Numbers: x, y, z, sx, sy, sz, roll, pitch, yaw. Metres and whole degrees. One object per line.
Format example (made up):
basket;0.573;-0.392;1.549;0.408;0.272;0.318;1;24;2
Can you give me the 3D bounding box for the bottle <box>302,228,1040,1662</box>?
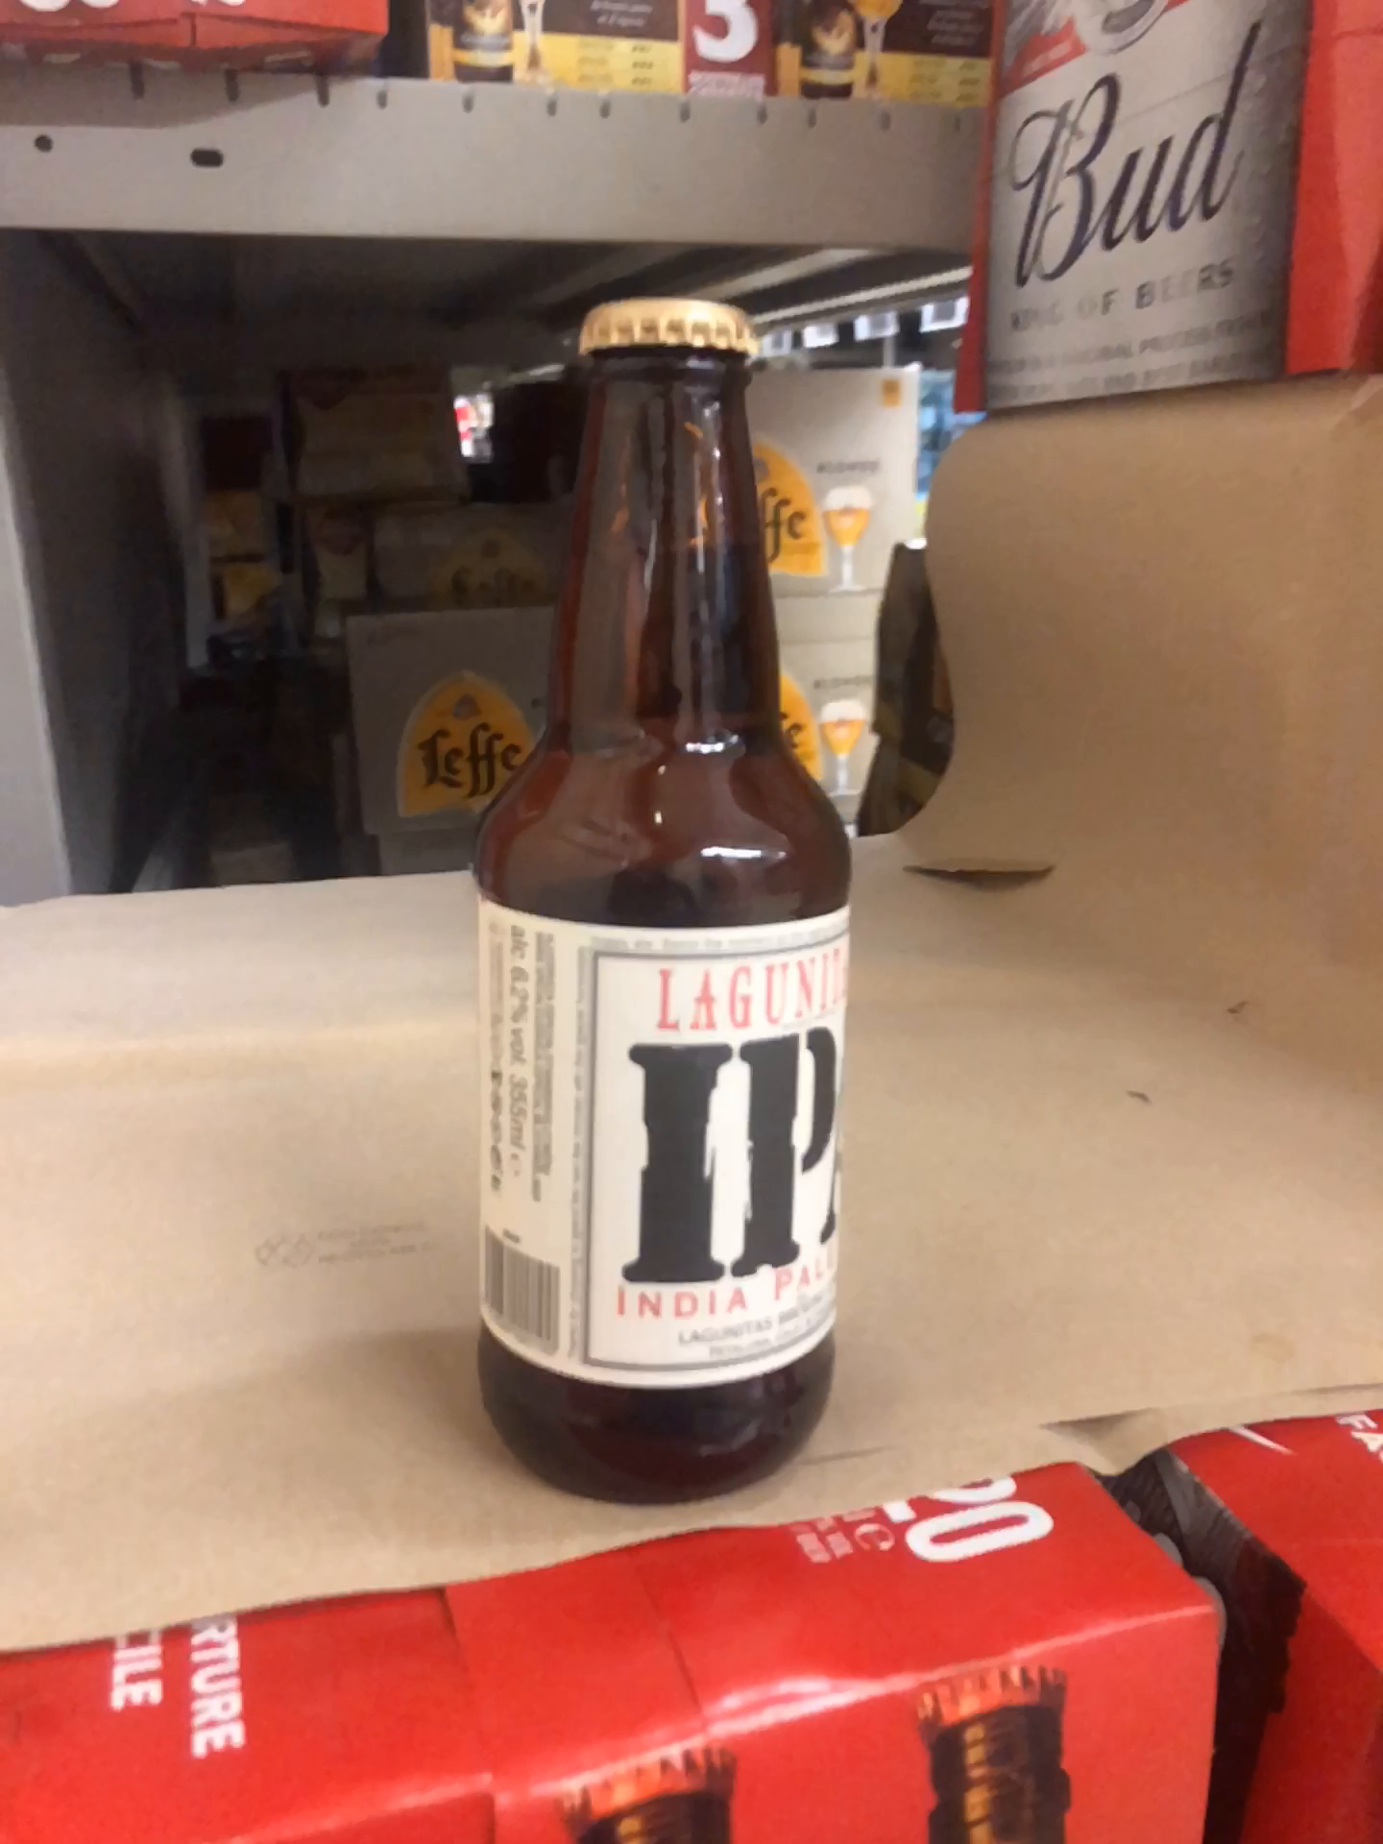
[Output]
bottle;-0.007;0.000;0.257;0.080;0.199;0.080;2;15;-1
